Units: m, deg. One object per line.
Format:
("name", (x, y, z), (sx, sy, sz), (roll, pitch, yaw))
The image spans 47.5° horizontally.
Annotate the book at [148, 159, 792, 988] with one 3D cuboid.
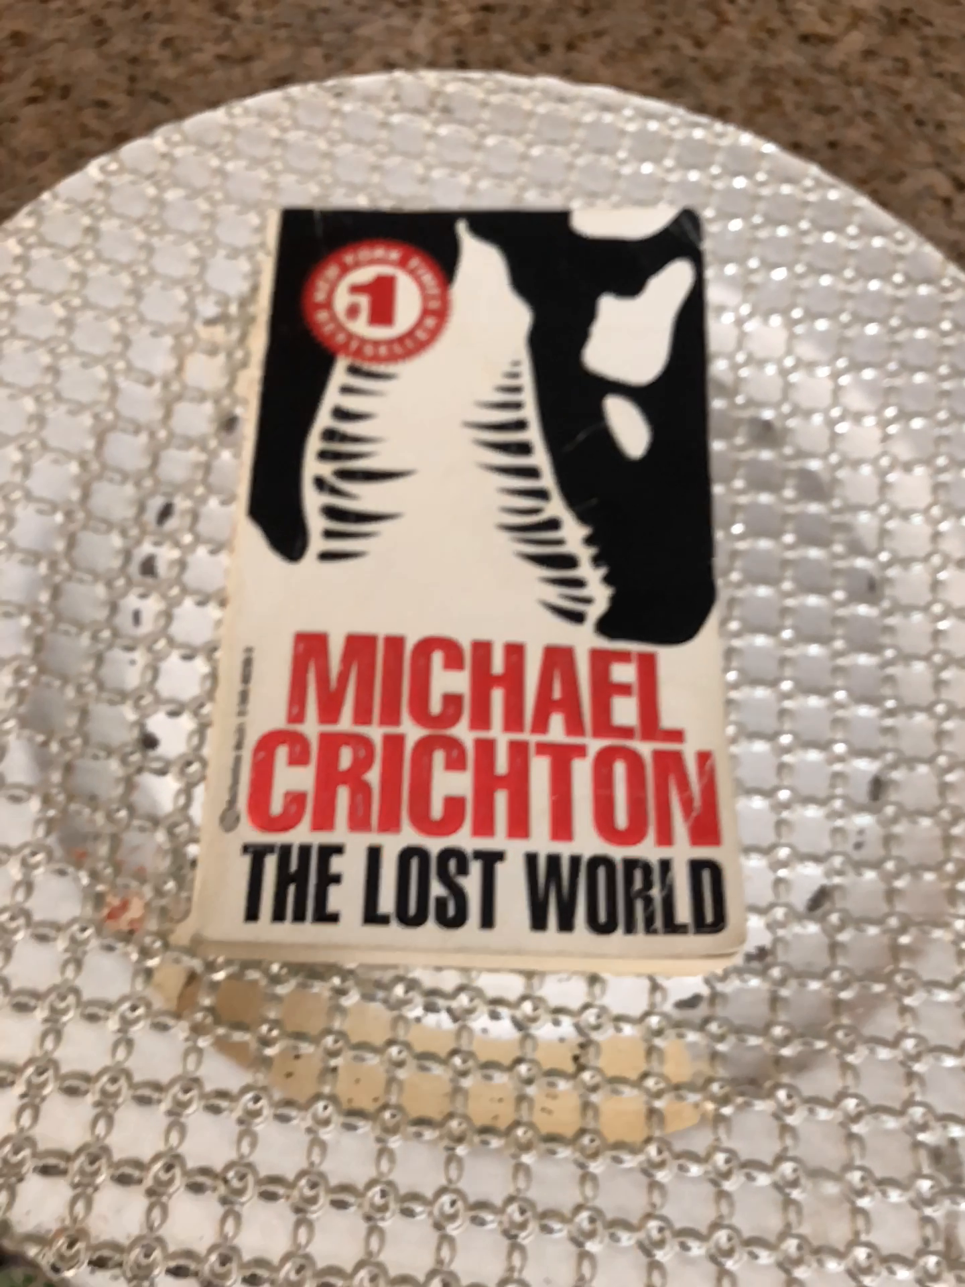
("book", (0.000, -0.020, 0.253), (0.118, 0.040, 0.183), (4, 68, -6))
